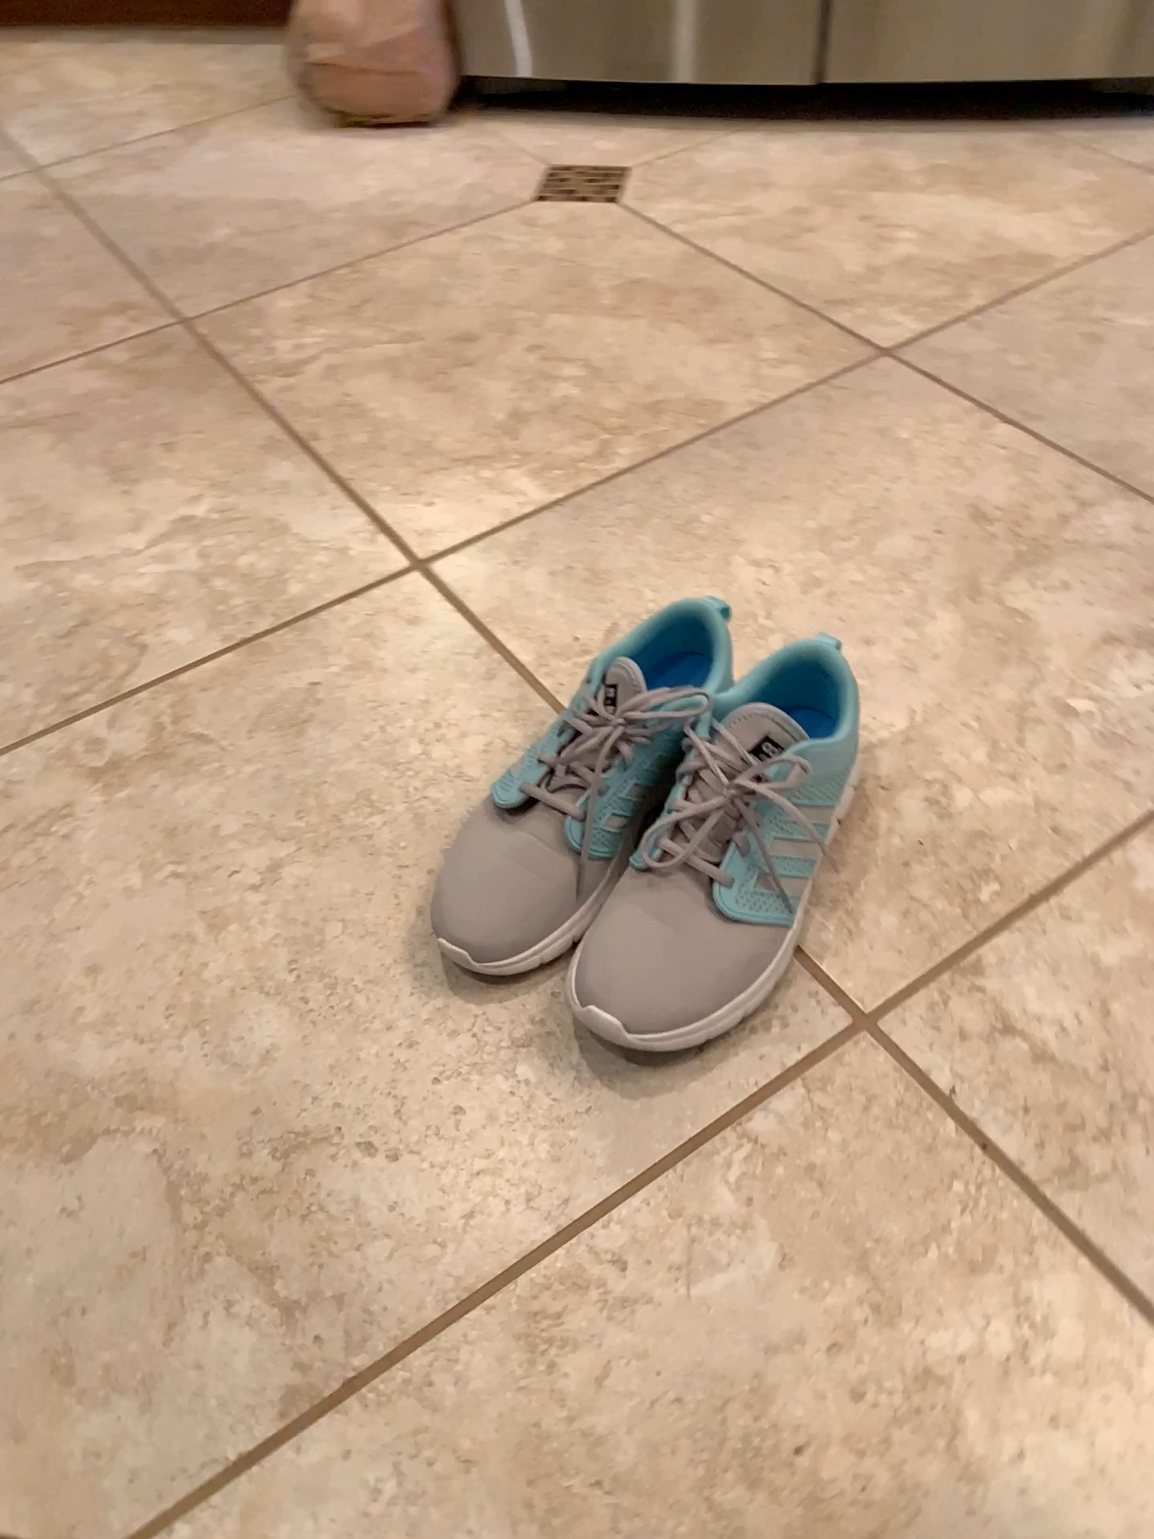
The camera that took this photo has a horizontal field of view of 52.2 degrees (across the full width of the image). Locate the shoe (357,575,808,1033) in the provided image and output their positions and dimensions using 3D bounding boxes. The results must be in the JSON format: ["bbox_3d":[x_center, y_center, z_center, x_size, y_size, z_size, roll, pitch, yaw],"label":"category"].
[{"bbox_3d":[0.013,0.012,0.723,0.107,0.108,0.271,33,58,29],"label":"shoe"}]

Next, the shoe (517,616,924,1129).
[{"bbox_3d":[0.090,0.047,0.681,0.106,0.108,0.271,23,54,23],"label":"shoe"}]
